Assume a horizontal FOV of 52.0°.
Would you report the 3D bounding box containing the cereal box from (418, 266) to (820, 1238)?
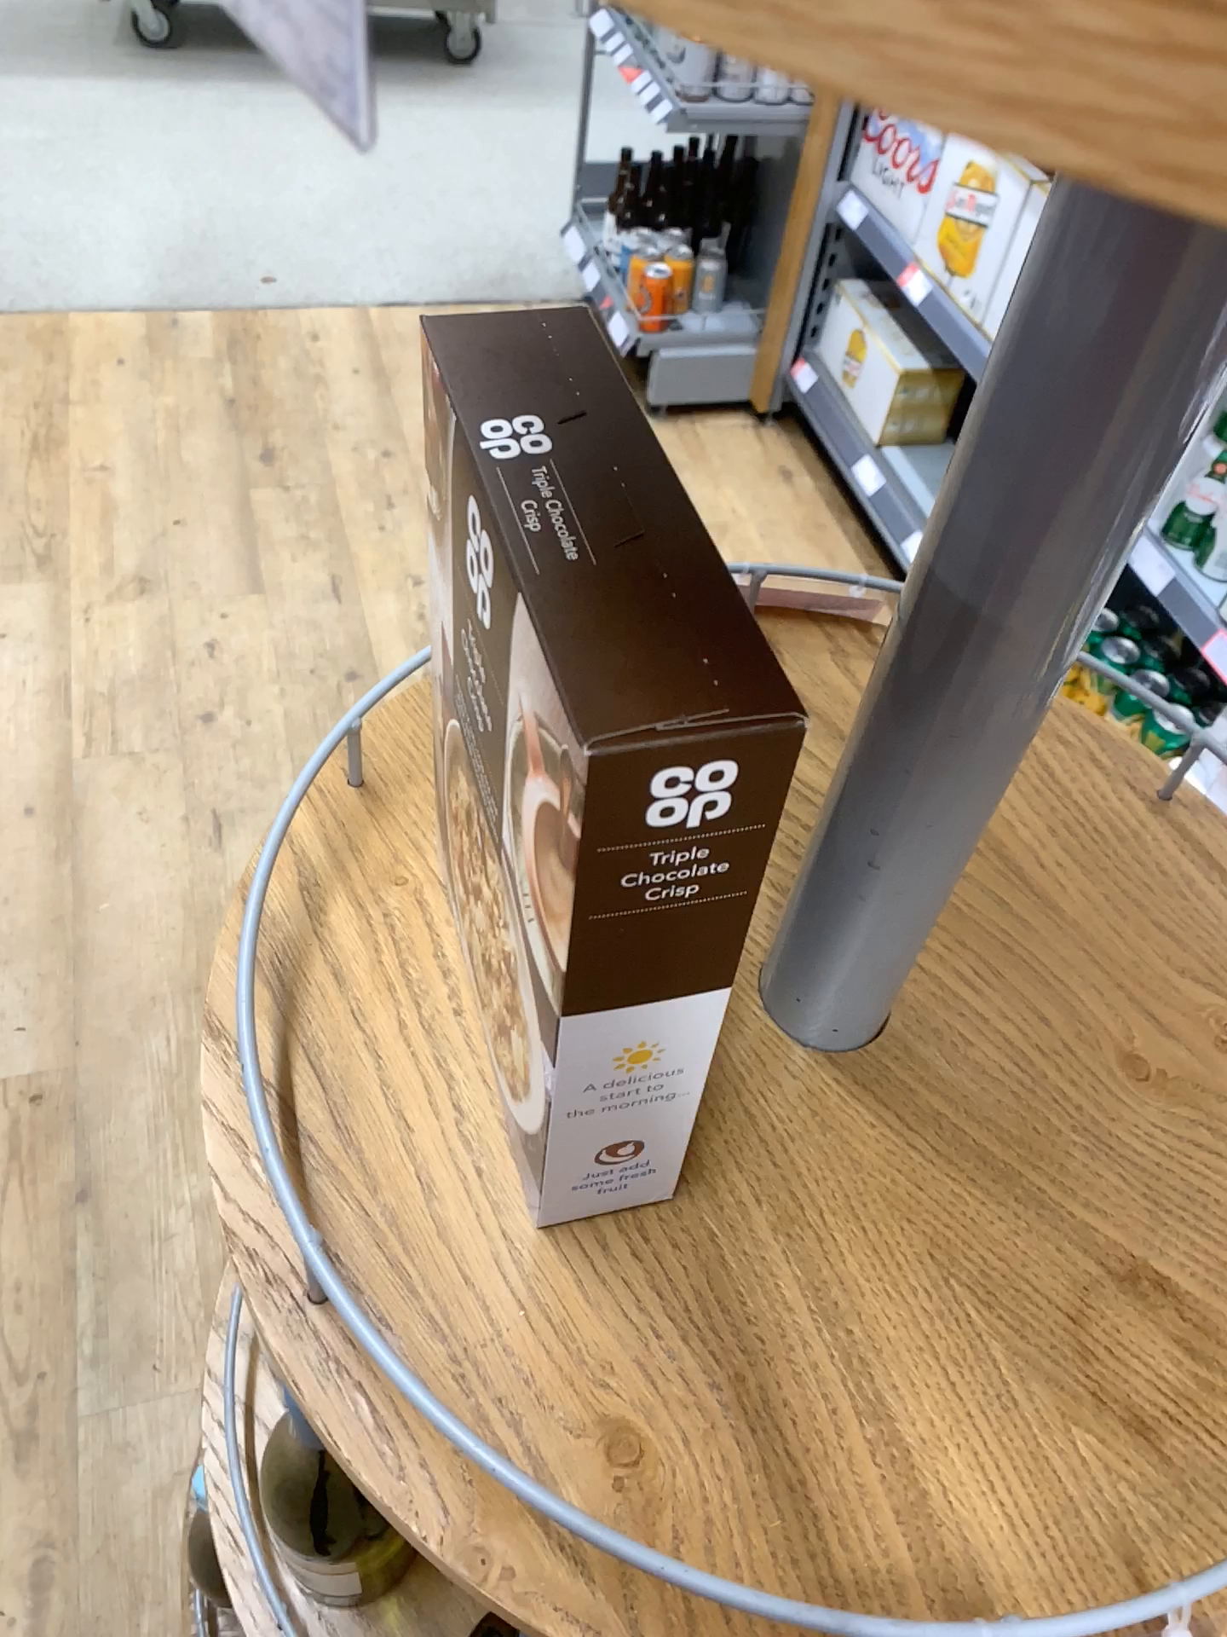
[{"bbox_3d":[-0.018,-0.010,0.406,0.050,0.248,0.192,-9,51,-14],"label":"cereal box"}]
